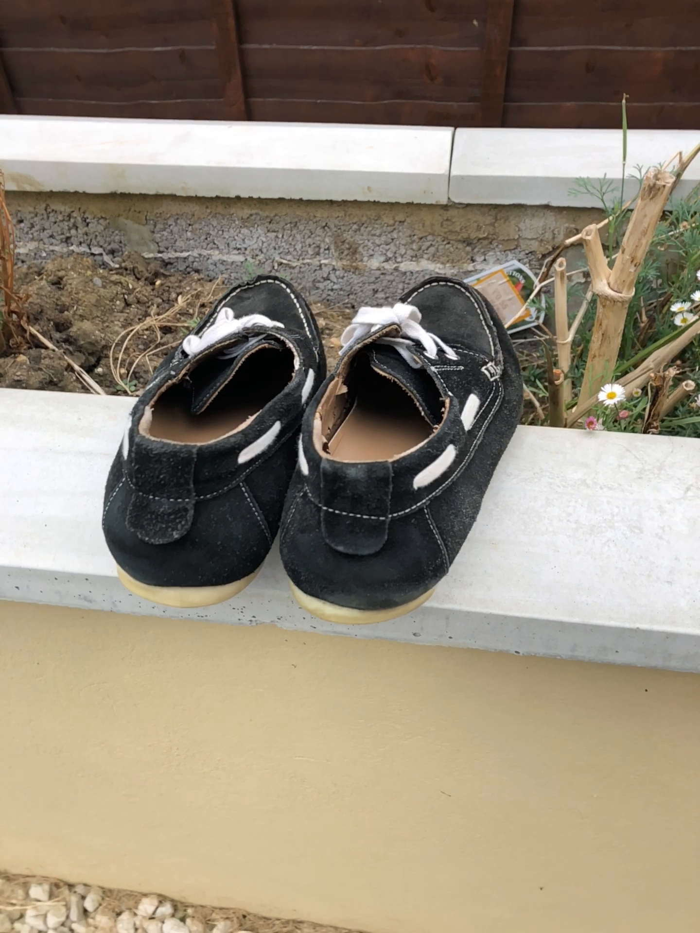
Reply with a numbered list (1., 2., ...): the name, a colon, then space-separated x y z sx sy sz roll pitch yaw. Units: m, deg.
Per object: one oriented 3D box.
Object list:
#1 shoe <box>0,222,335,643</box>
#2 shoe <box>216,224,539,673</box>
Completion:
1. shoe: -0.080 -0.048 0.444 0.120 0.089 0.312 0 34 3
2. shoe: 0.037 -0.041 0.428 0.110 0.089 0.302 8 35 11
